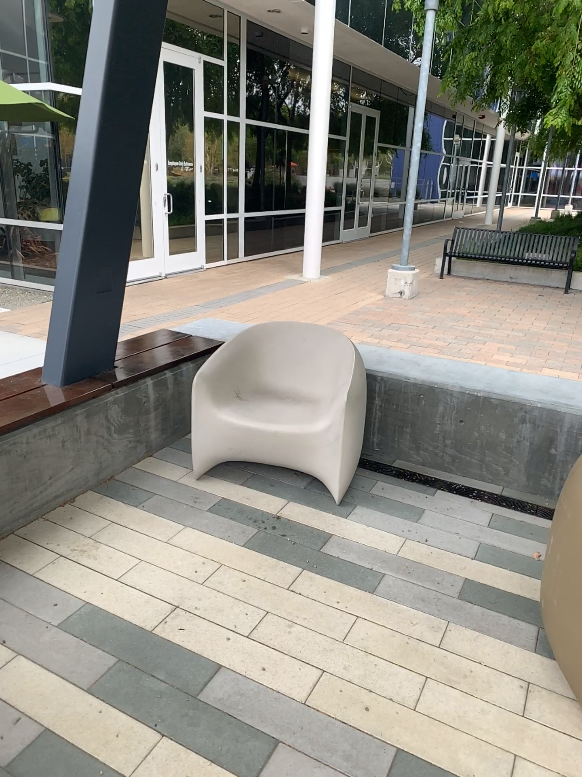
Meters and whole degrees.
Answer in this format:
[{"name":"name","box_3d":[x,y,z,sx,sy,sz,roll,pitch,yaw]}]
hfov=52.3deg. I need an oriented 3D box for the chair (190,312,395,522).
[{"name":"chair","box_3d":[0.038,0.106,3.515,0.981,0.786,0.924,9,23,11]}]
